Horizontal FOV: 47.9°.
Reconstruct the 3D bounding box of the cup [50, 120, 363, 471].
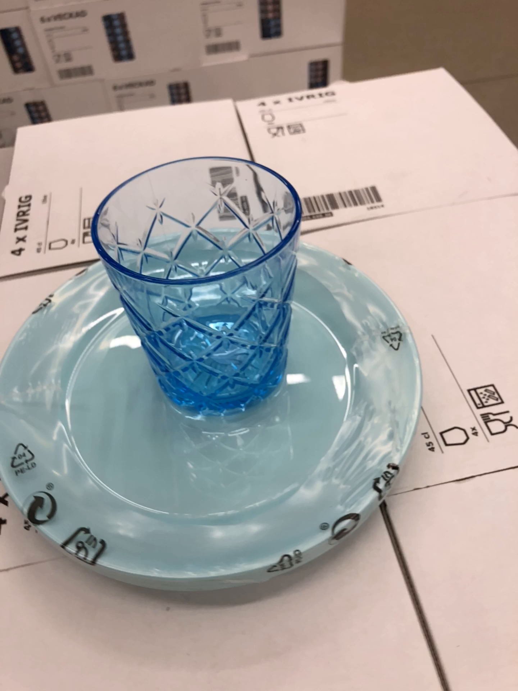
[{"bbox_3d":[-0.020,-0.024,0.267,0.090,0.100,0.090,-3,49,4],"label":"cup"}]
